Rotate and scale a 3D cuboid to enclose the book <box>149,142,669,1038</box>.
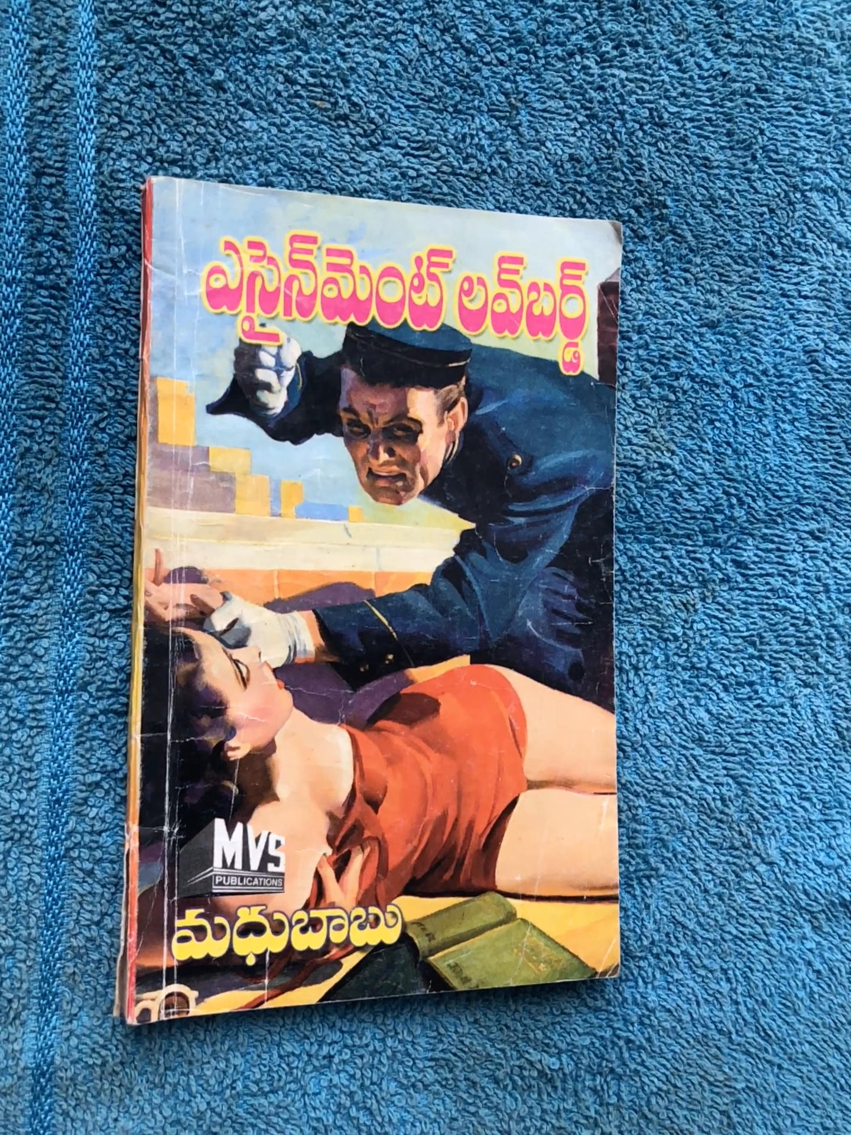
[{"bbox_3d":[-0.003,0.004,0.197,0.100,0.030,0.160,2,86,-15],"label":"book"}]
